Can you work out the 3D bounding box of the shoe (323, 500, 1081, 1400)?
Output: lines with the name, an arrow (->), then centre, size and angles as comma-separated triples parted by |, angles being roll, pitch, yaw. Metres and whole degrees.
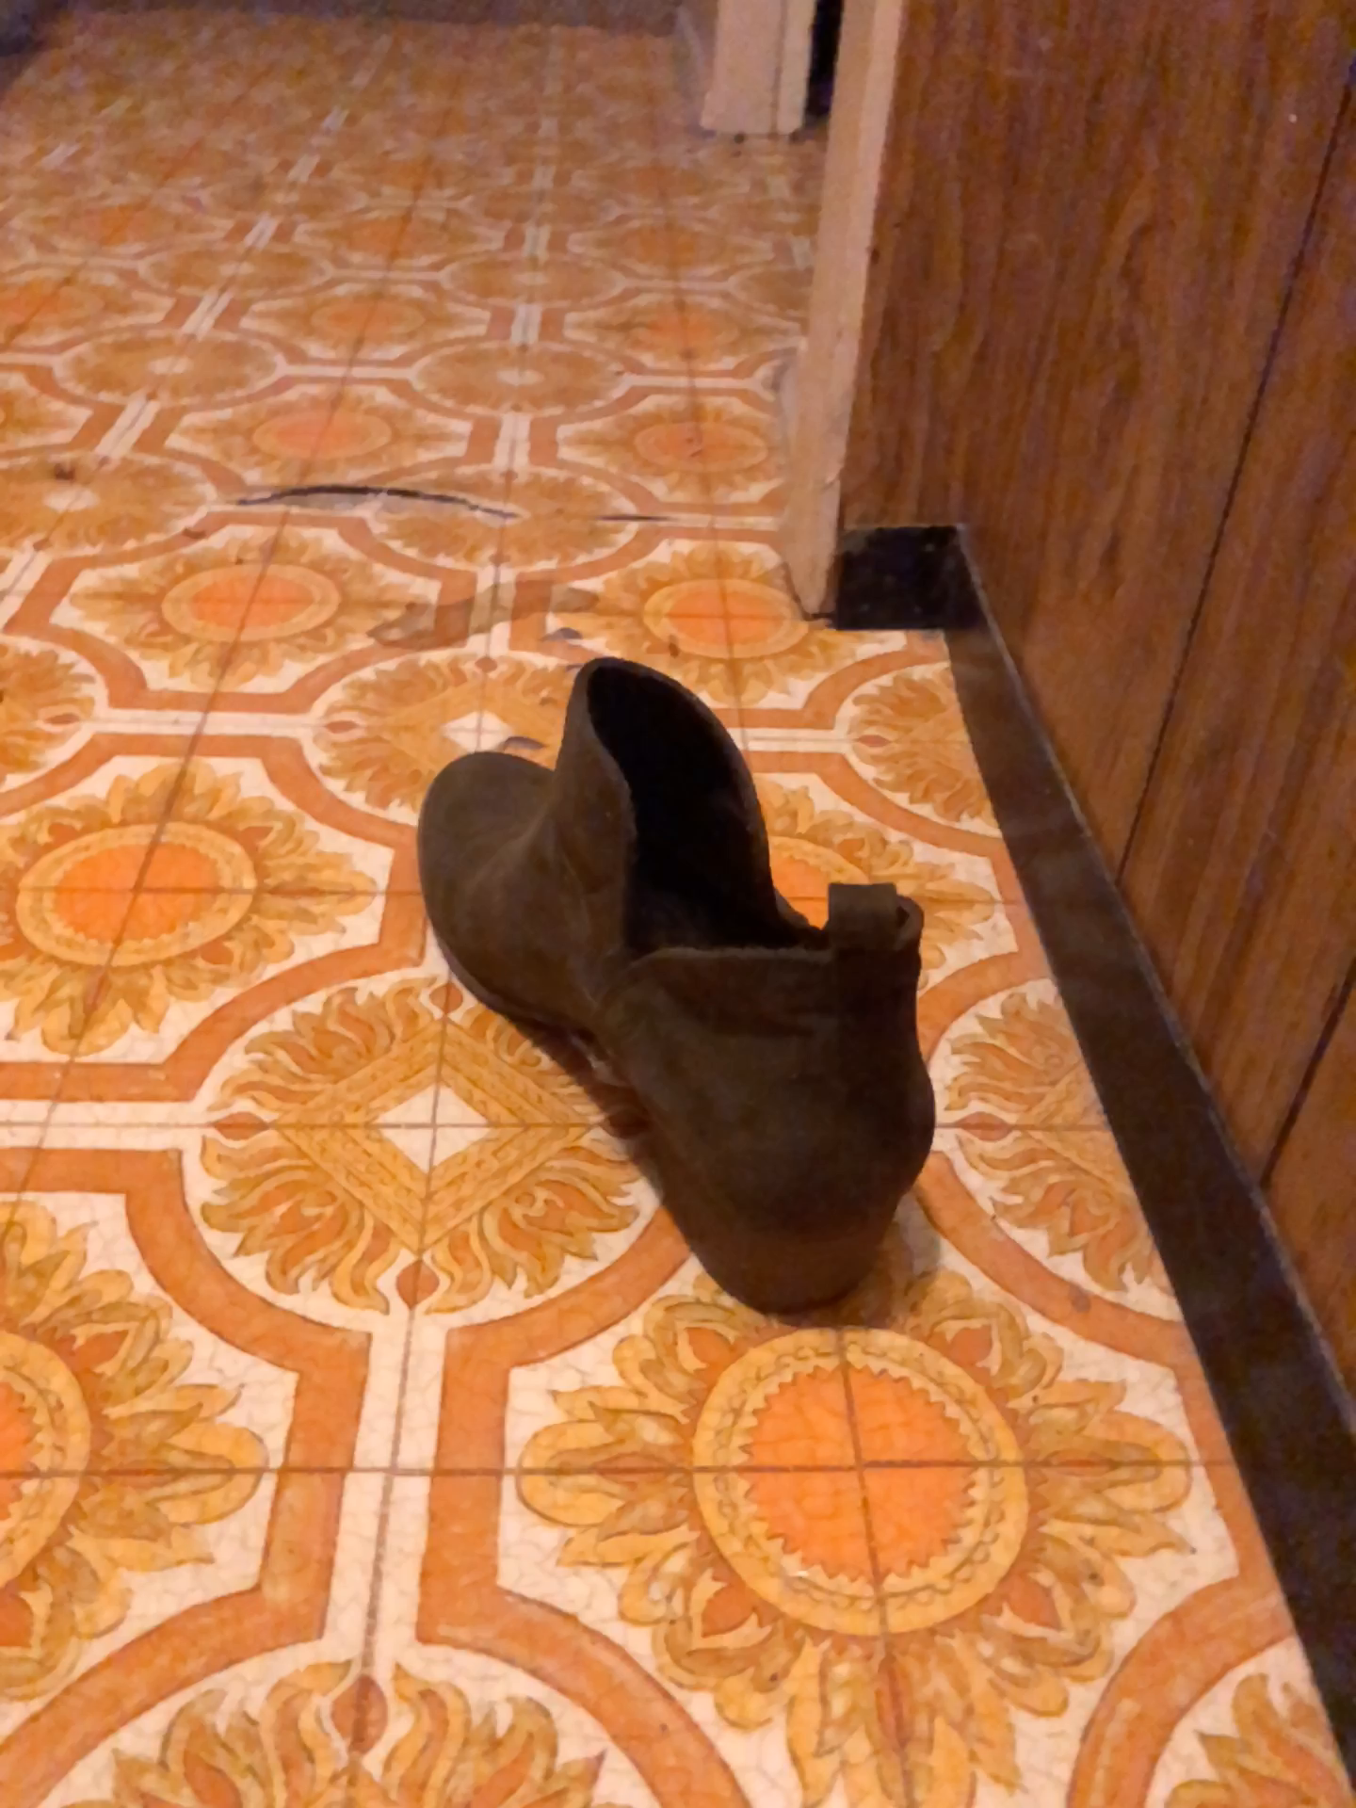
shoe -> -0.014, -0.005, 0.451 | 0.080, 0.129, 0.261 | -18, 43, -27
